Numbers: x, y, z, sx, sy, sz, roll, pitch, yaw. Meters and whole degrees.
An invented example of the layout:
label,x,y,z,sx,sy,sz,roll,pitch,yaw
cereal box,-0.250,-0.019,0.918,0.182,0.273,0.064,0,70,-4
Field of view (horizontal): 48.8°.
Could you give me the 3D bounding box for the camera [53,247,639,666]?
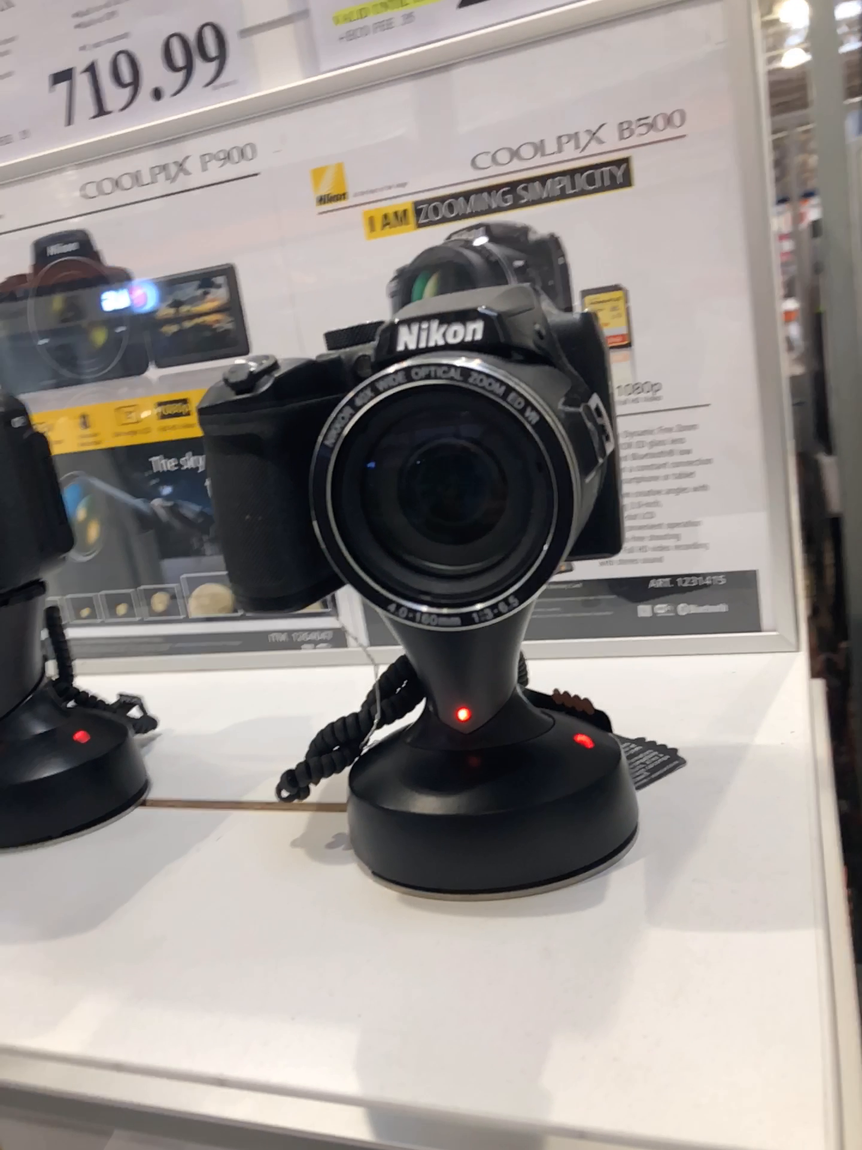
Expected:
label,x,y,z,sx,sy,sz,roll,pitch,yaw
camera,-0.013,-0.033,0.254,0.120,0.080,0.090,-5,14,18
